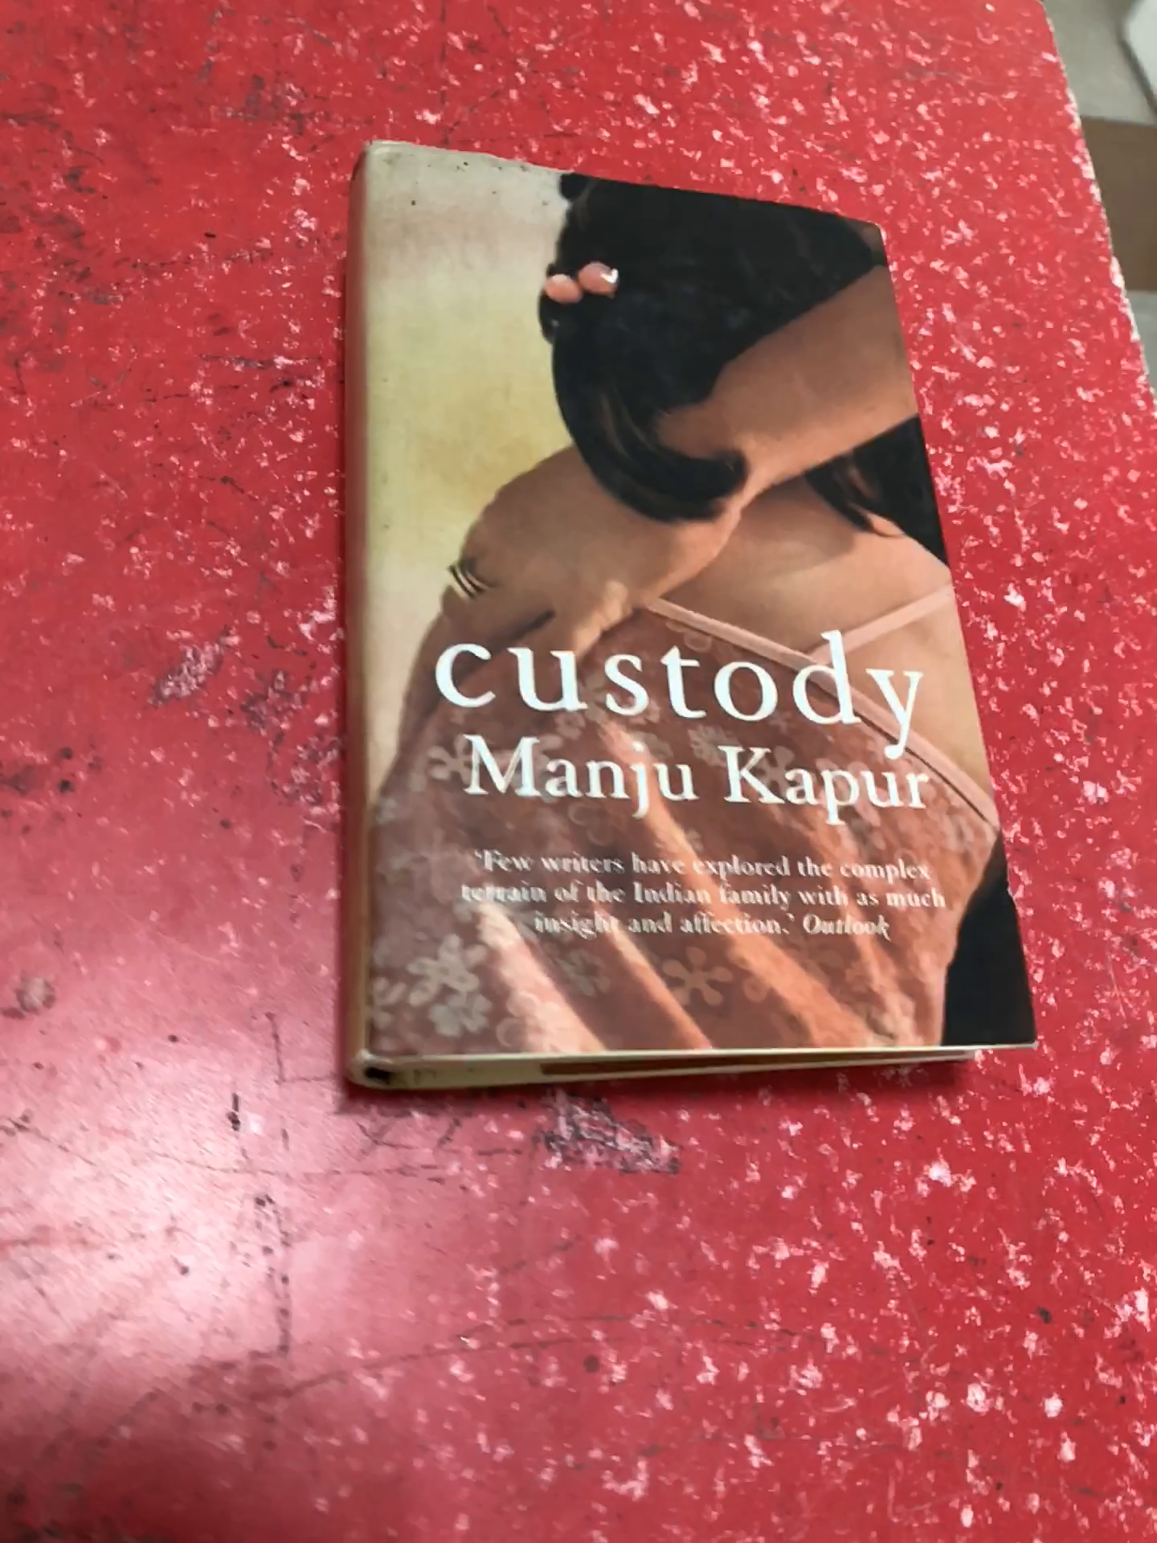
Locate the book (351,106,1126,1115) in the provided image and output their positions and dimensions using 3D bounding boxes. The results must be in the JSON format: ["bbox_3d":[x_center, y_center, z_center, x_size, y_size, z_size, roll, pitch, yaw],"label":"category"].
[{"bbox_3d":[0.023,-0.042,0.289,0.140,0.040,0.220,2,66,-15],"label":"book"}]
